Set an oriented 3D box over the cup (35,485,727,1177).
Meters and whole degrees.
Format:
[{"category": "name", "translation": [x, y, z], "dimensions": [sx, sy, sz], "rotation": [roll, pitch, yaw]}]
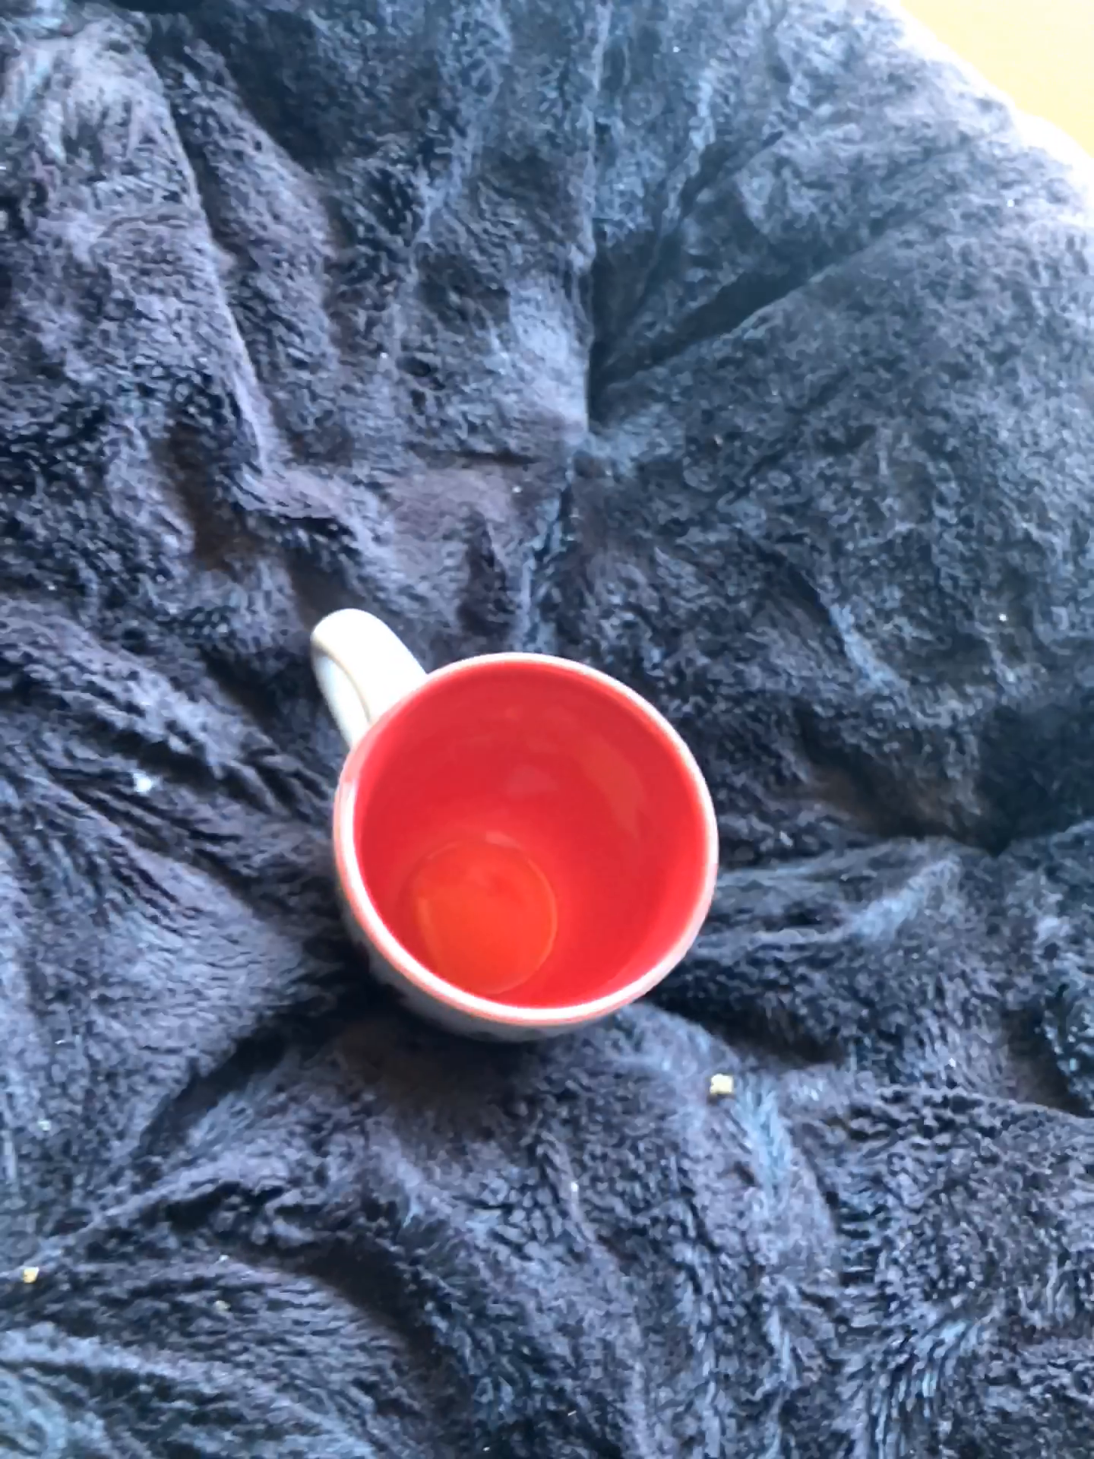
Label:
[{"category": "cup", "translation": [-0.050, 0.034, 0.350], "dimensions": [0.140, 0.110, 0.100], "rotation": [44, 62, 5]}]
